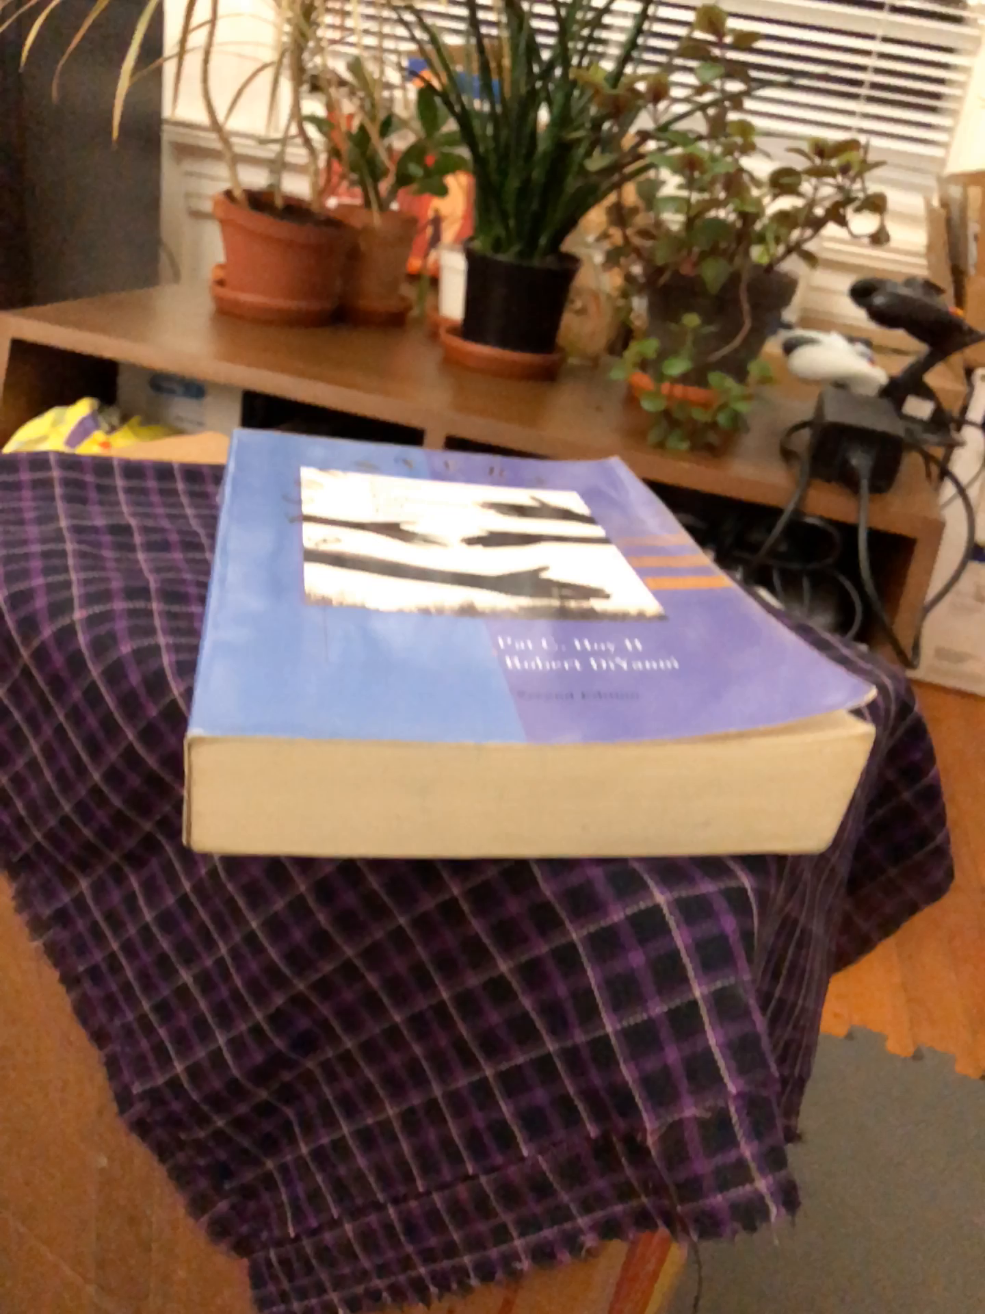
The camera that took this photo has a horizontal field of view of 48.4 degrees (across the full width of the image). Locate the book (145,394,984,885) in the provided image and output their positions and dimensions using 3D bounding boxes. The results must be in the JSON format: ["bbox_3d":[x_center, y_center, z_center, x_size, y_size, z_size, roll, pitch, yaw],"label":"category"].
[{"bbox_3d":[0.004,-0.024,0.359,0.200,0.040,0.261,4,26,-13],"label":"book"}]
